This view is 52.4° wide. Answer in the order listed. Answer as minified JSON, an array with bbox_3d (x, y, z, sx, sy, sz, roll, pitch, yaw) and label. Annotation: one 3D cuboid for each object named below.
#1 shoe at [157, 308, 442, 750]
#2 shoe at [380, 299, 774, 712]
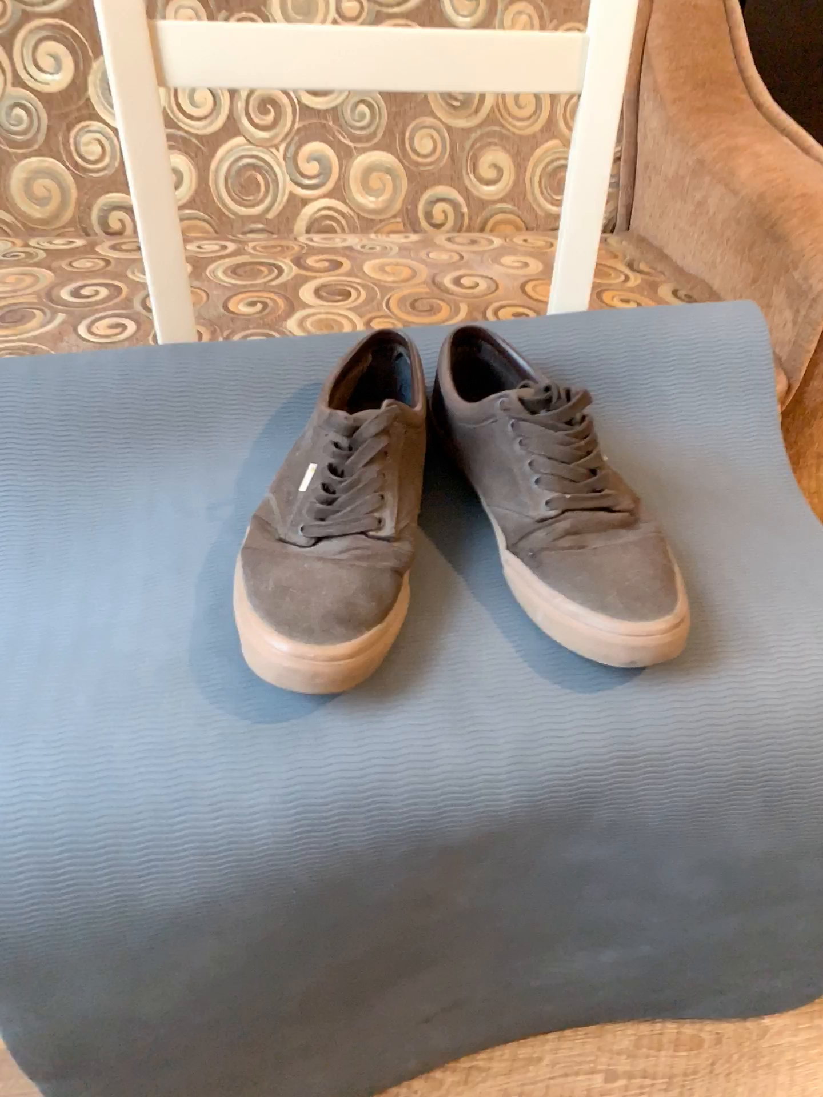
[{"bbox_3d":[-0.051,-0.040,0.551,0.110,0.080,0.342,6,42,3],"label":"shoe"},{"bbox_3d":[0.082,-0.053,0.558,0.110,0.080,0.321,-11,44,-16],"label":"shoe"}]
